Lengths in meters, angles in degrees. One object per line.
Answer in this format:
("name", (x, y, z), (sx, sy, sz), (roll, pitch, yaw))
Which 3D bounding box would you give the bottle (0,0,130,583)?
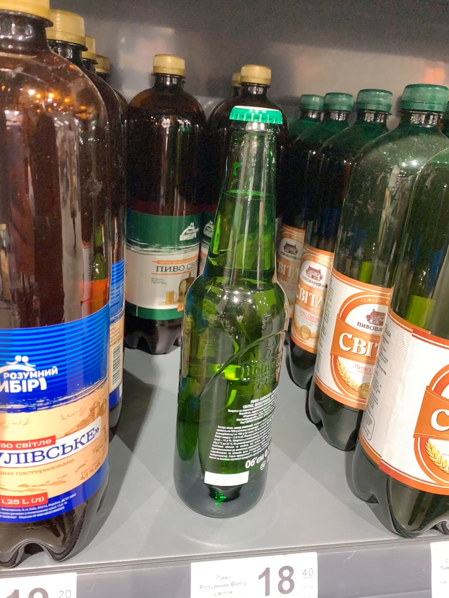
("bottle", (-0.092, -0.003, 0.232), (0.080, 0.288, 0.074), (4, 21, -2))

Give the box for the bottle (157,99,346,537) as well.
("bottle", (0.008, 0.015, 0.286), (0.067, 0.248, 0.061), (4, 21, -2))
